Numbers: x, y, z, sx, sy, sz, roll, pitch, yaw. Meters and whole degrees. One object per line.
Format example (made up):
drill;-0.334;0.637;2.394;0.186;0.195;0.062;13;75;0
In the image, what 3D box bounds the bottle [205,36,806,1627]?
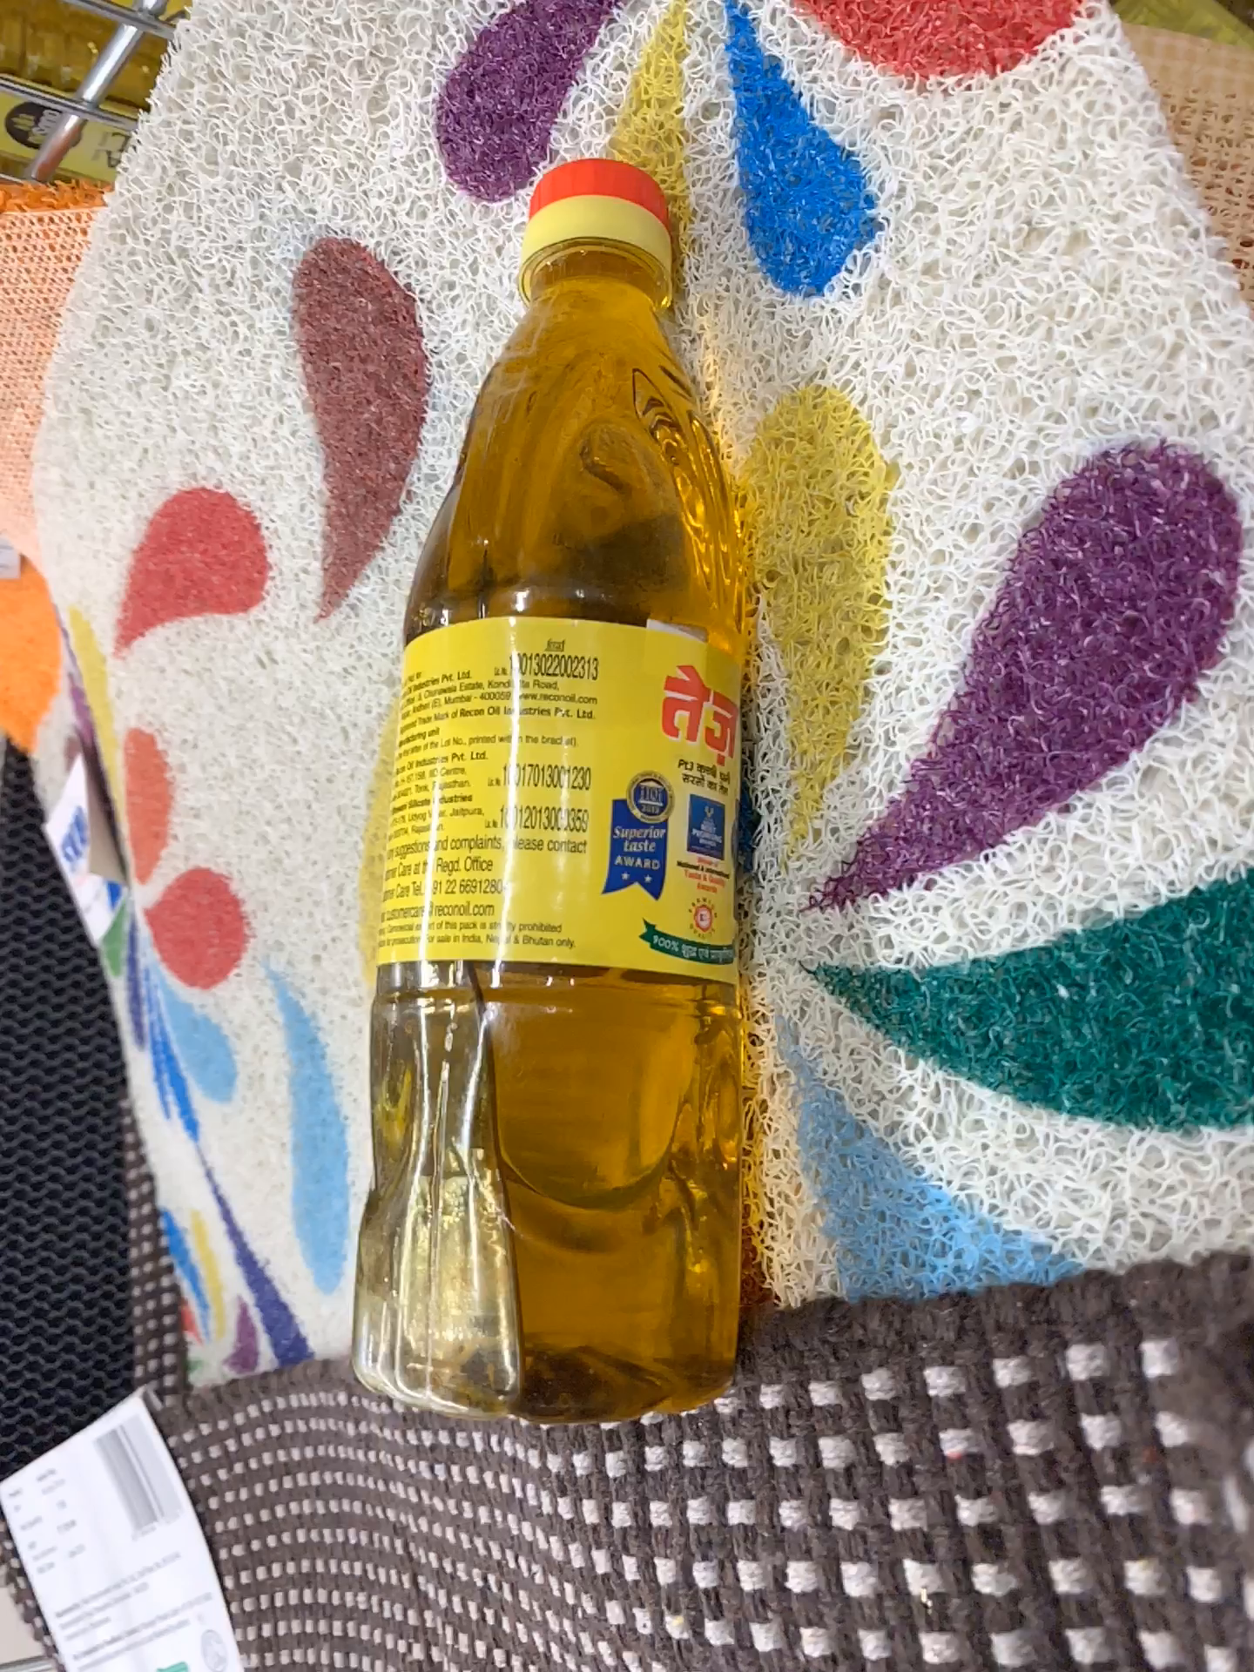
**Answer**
bottle;-0.018;-0.002;0.208;0.070;0.060;0.200;-5;83;42
